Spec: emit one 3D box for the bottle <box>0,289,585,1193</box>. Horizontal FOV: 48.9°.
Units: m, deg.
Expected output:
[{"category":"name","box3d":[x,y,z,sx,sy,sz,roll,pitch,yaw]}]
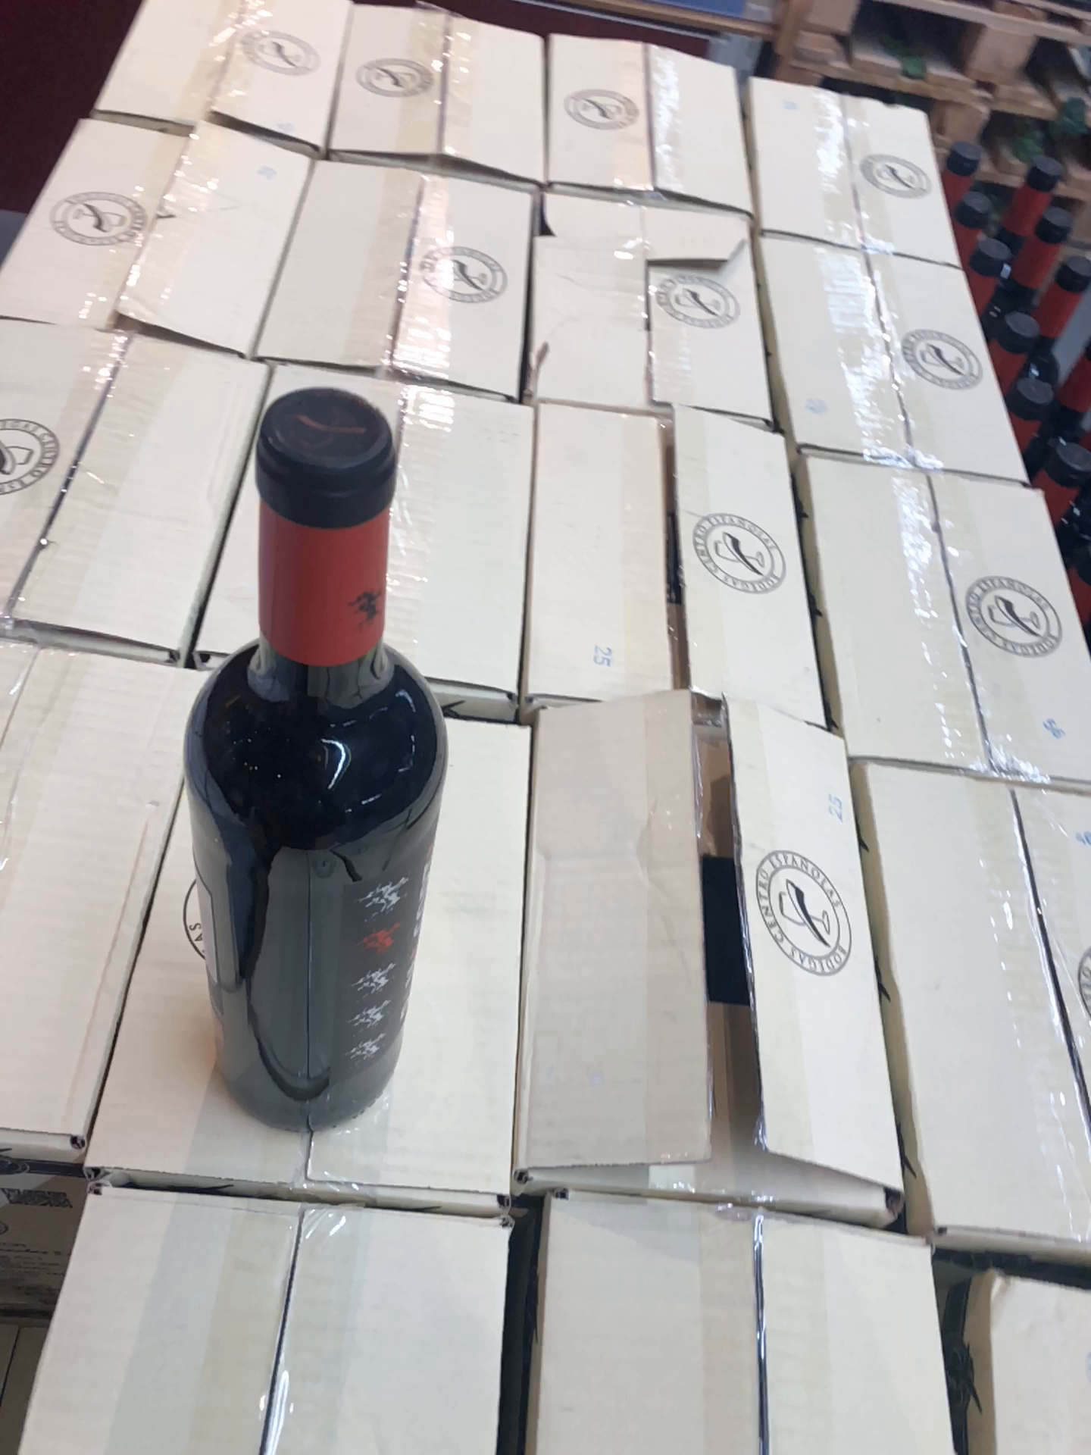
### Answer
[{"category":"bottle","box3d":[-0.077,0.036,0.364,0.090,0.298,0.090,6,53,-8]}]
